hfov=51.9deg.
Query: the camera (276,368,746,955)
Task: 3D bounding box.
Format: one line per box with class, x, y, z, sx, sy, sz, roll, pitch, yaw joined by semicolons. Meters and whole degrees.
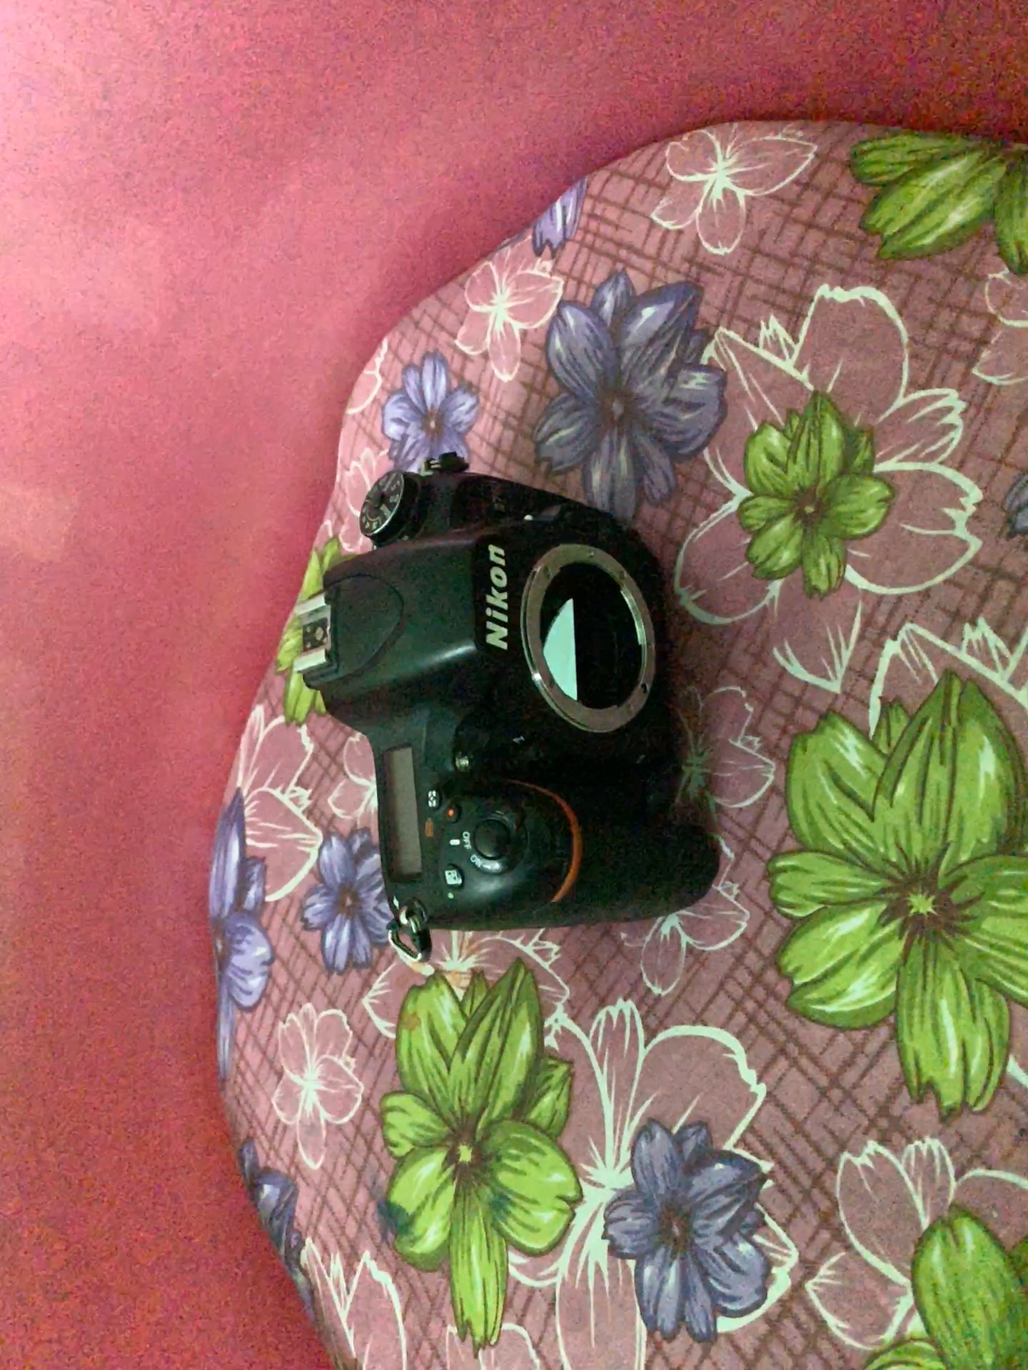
camera;-0.002;0.003;0.310;0.093;0.090;0.140;-12;77;38
